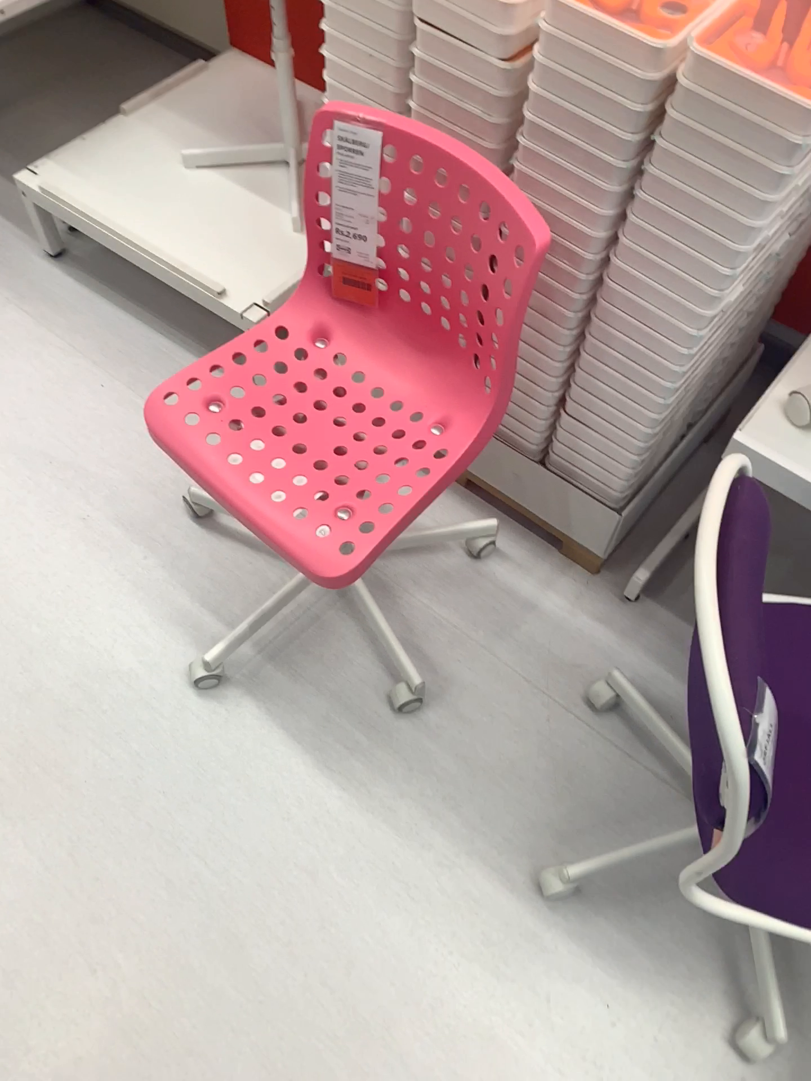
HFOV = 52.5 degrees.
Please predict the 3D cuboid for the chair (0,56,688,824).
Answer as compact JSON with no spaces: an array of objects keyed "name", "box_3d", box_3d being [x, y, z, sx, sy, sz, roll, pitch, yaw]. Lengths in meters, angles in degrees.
[{"name":"chair","box_3d":[-0.142,-0.141,1.272,0.671,0.688,0.691,38,64,20]}]
